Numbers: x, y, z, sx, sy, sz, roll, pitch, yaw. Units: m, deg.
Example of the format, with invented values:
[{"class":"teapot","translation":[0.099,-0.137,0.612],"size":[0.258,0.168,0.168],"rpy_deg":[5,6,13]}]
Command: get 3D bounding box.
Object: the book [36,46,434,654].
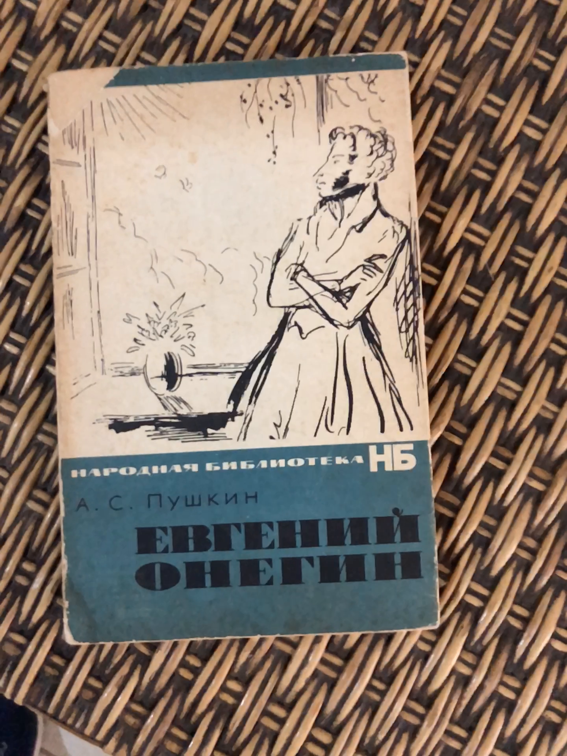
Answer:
[{"class":"book","translation":[-0.017,-0.010,0.214],"size":[0.120,0.020,0.190],"rpy_deg":[-3,88,2]}]
